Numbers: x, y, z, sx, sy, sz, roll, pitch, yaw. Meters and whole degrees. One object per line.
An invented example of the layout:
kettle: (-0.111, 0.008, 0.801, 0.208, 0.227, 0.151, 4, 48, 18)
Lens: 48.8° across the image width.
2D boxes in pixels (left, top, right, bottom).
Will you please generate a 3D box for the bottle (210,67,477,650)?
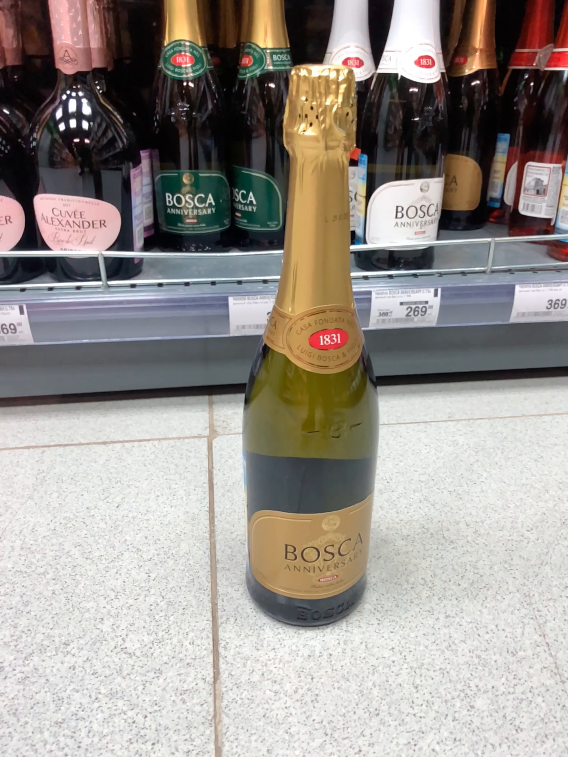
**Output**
bottle: (0.020, -0.004, 0.361, 0.100, 0.314, 0.101, 0, 26, 0)
